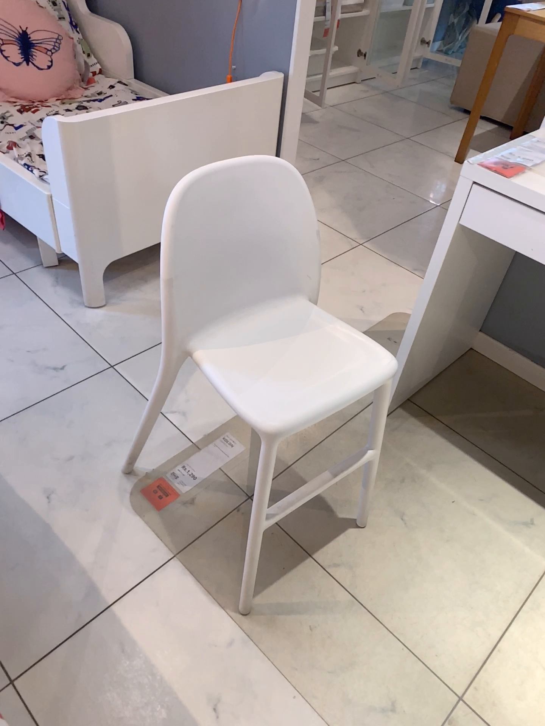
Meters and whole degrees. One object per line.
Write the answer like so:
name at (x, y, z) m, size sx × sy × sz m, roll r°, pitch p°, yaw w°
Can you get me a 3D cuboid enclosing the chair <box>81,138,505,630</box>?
chair at (-0.015, 0.036, 1.078) m, size 0.431 × 0.697 × 0.501 m, roll -25°, pitch 51°, yaw -31°
